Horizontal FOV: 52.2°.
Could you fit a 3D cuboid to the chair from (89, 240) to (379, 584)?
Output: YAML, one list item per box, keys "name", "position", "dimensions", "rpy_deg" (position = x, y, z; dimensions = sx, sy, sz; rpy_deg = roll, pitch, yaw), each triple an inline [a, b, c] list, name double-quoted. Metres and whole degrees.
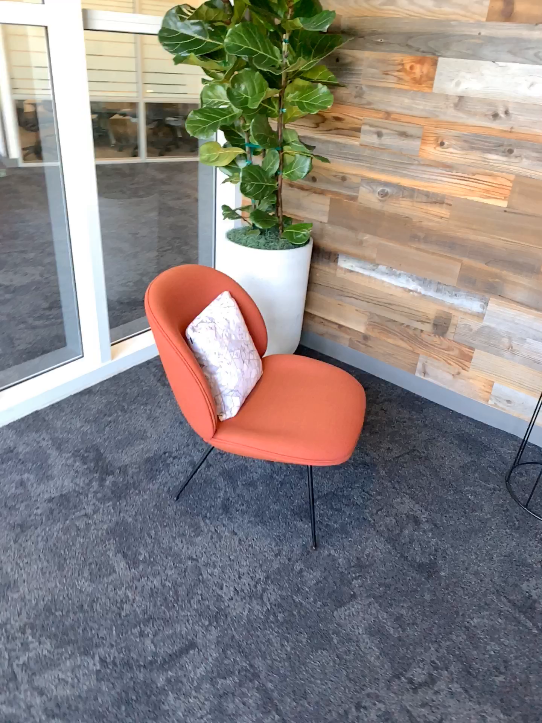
- name: "chair"
  position: [-0.085, 0.118, 1.909]
  dimensions: [0.701, 0.795, 0.703]
  rpy_deg: [12, 30, 13]
